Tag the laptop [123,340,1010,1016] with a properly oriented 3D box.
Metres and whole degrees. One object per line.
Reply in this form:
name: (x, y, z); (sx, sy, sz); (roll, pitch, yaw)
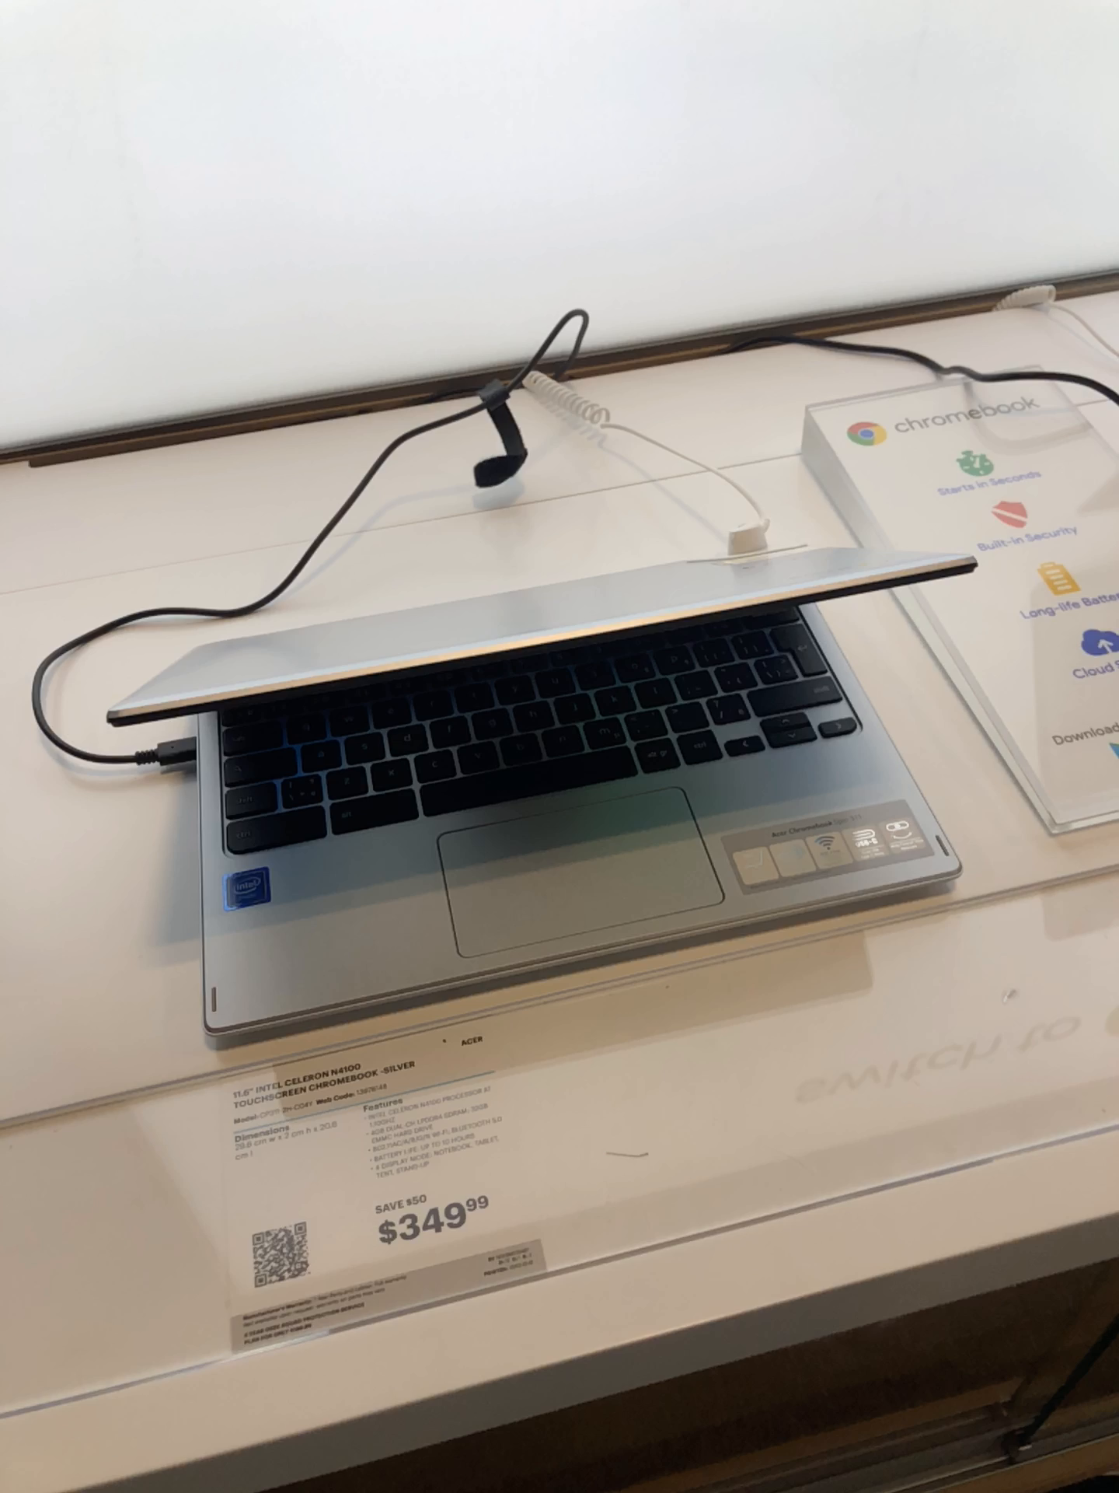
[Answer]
laptop: (-0.009, -0.038, 0.487); (0.279, 0.123, 0.192); (-11, 47, -7)
